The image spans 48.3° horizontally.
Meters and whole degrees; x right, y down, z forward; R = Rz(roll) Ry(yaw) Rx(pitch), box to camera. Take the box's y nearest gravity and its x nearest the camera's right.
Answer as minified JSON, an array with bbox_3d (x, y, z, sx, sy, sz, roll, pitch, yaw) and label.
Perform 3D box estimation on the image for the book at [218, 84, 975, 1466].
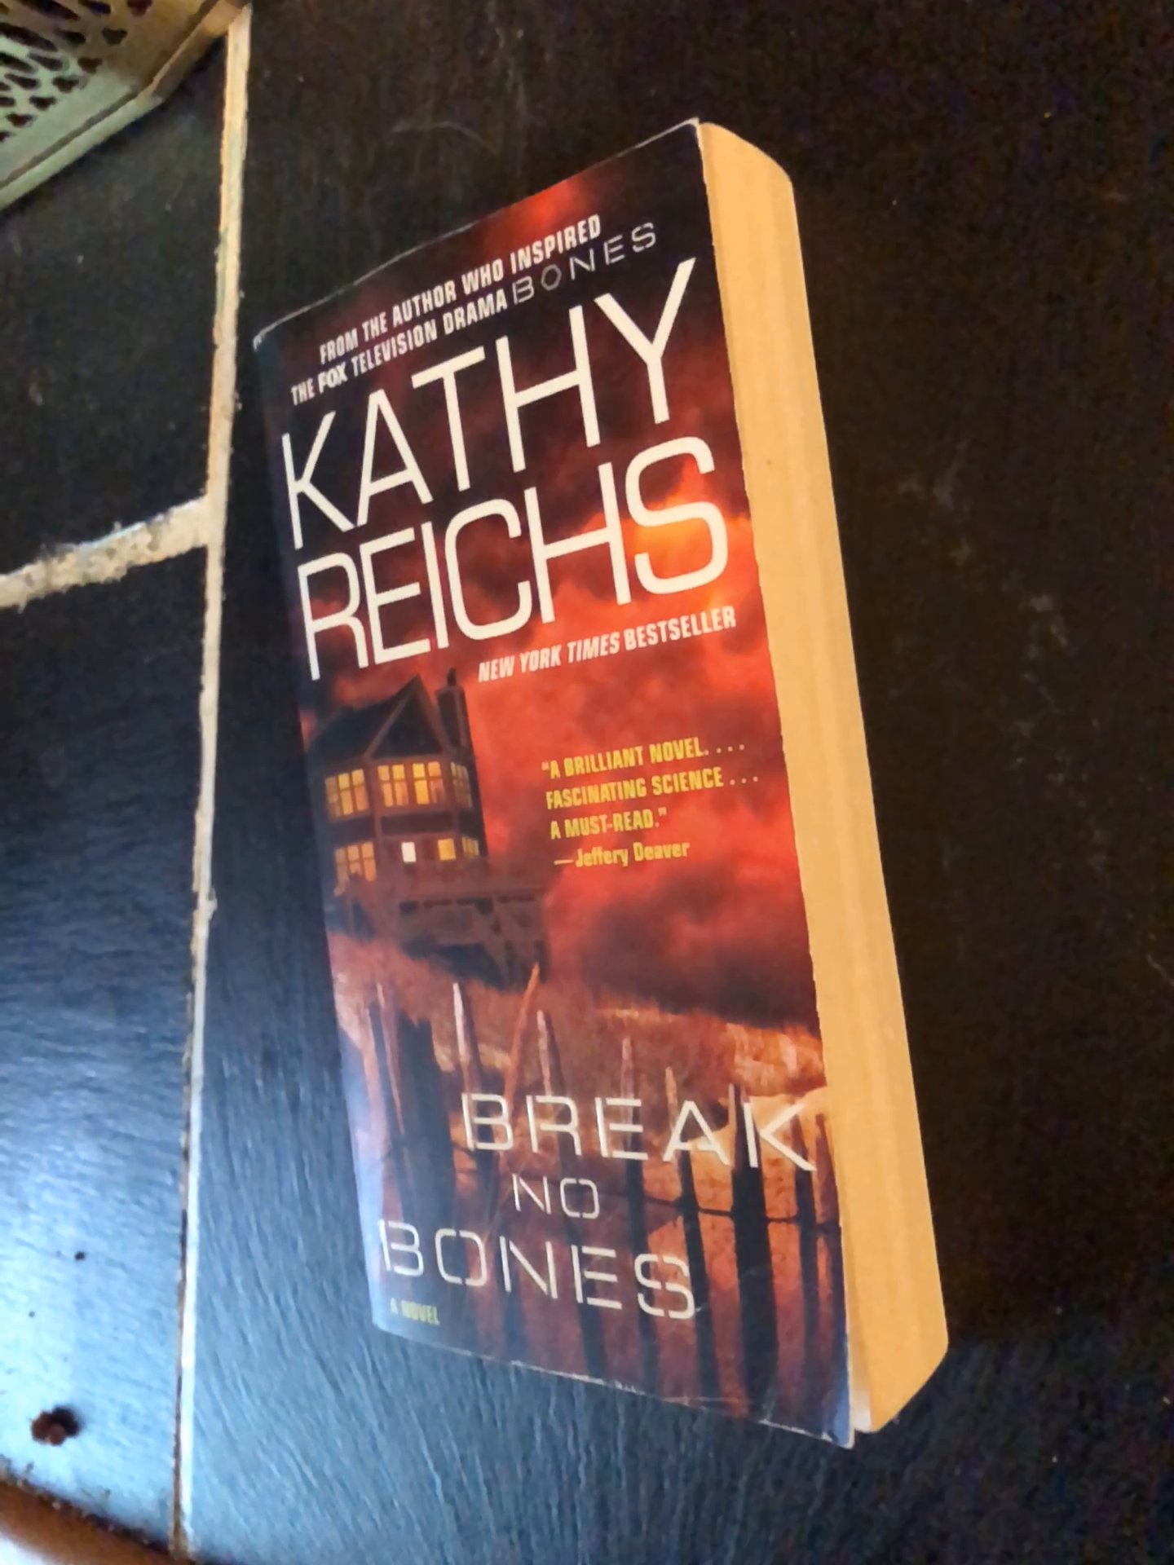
[{"bbox_3d":[-0.004,0.003,0.222,0.108,0.030,0.189,-7,90,37],"label":"book"}]
